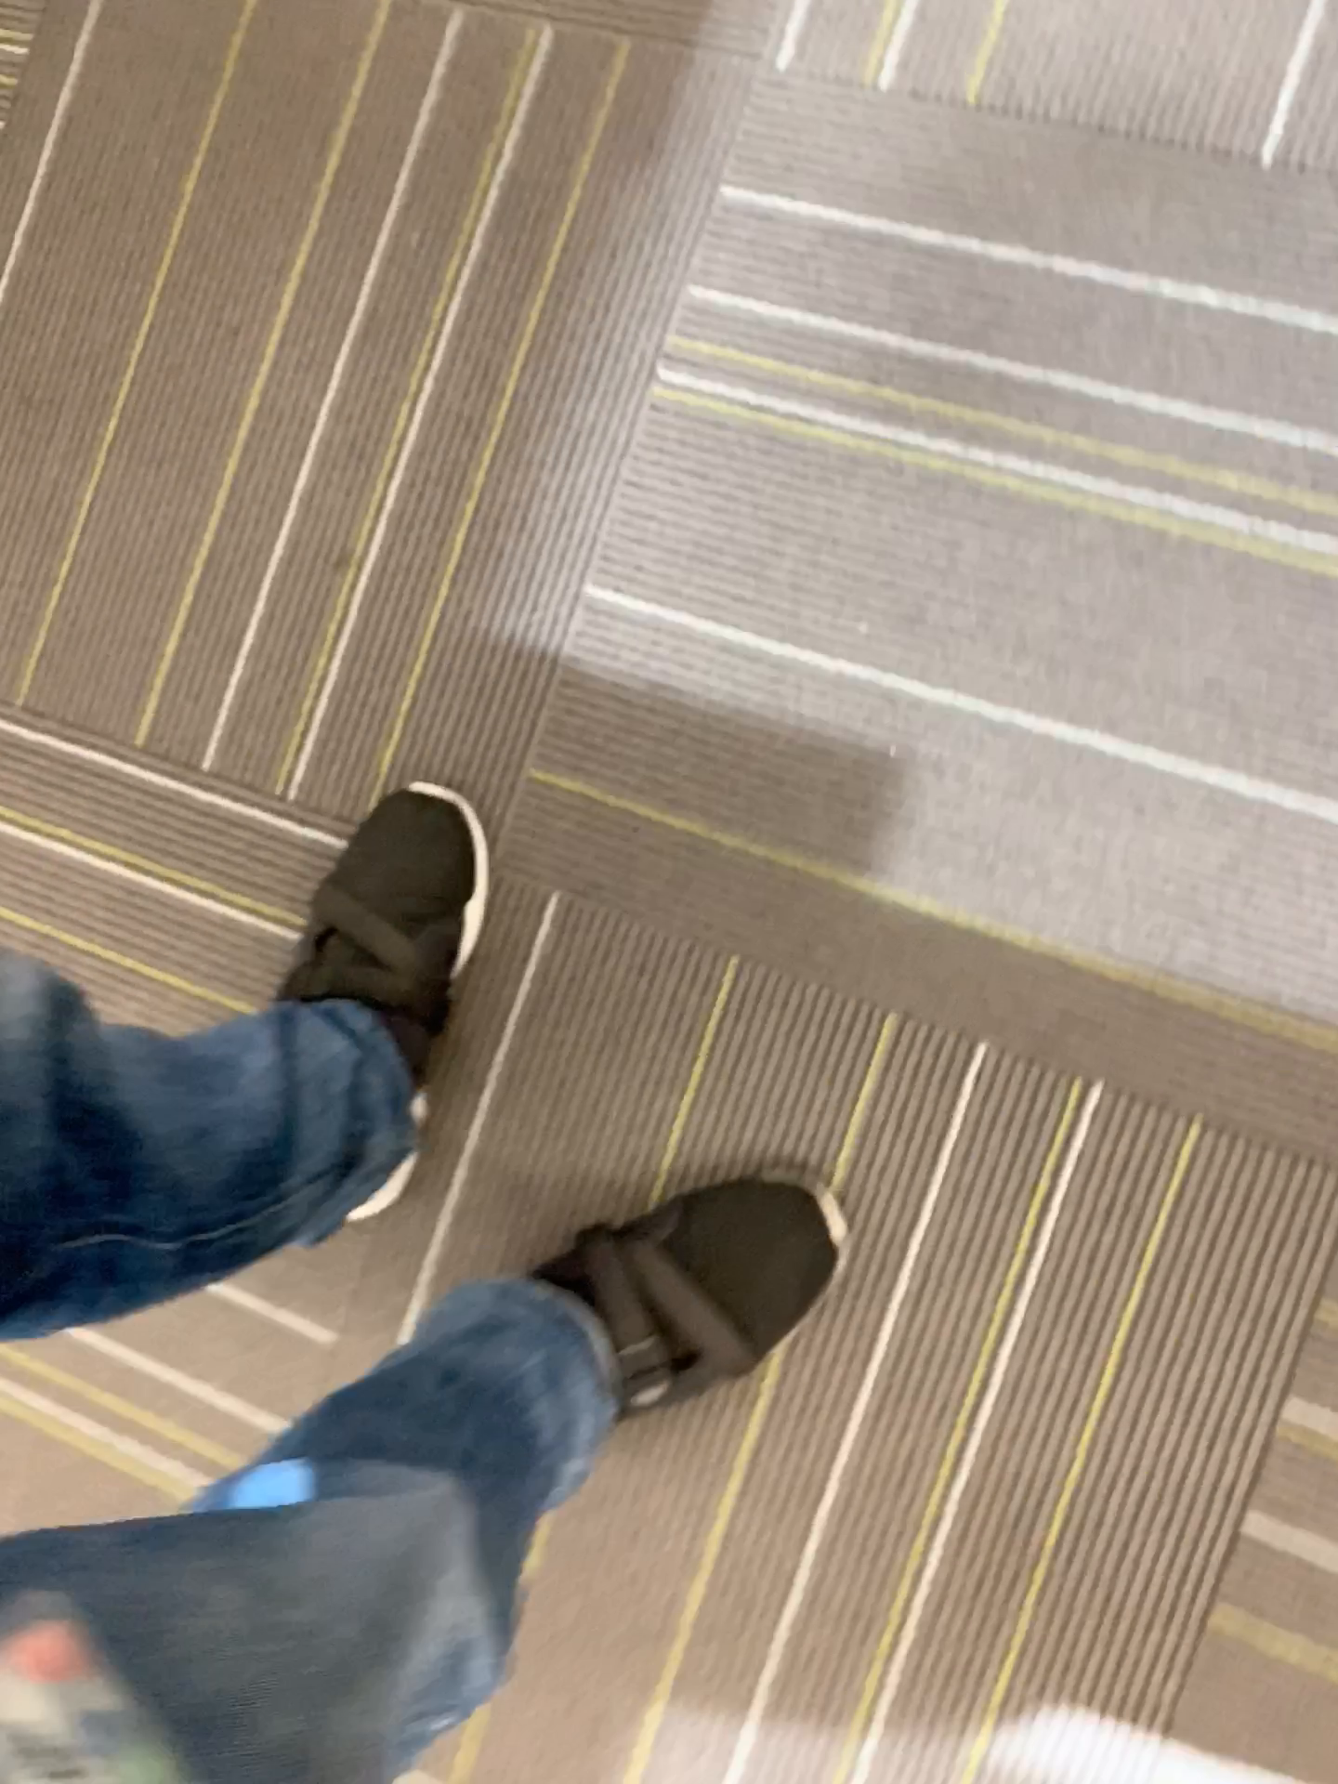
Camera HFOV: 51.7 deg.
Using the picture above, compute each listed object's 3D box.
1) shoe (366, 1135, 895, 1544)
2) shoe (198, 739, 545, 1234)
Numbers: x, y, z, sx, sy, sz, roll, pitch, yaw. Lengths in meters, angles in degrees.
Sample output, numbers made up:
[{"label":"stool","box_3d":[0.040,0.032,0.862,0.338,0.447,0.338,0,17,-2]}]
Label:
[{"label":"shoe","box_3d":[-0.021,0.282,0.887,0.300,0.110,0.120,-28,81,10]},{"label":"shoe","box_3d":[-0.201,0.063,0.959,0.120,0.120,0.300,16,90,14]}]
